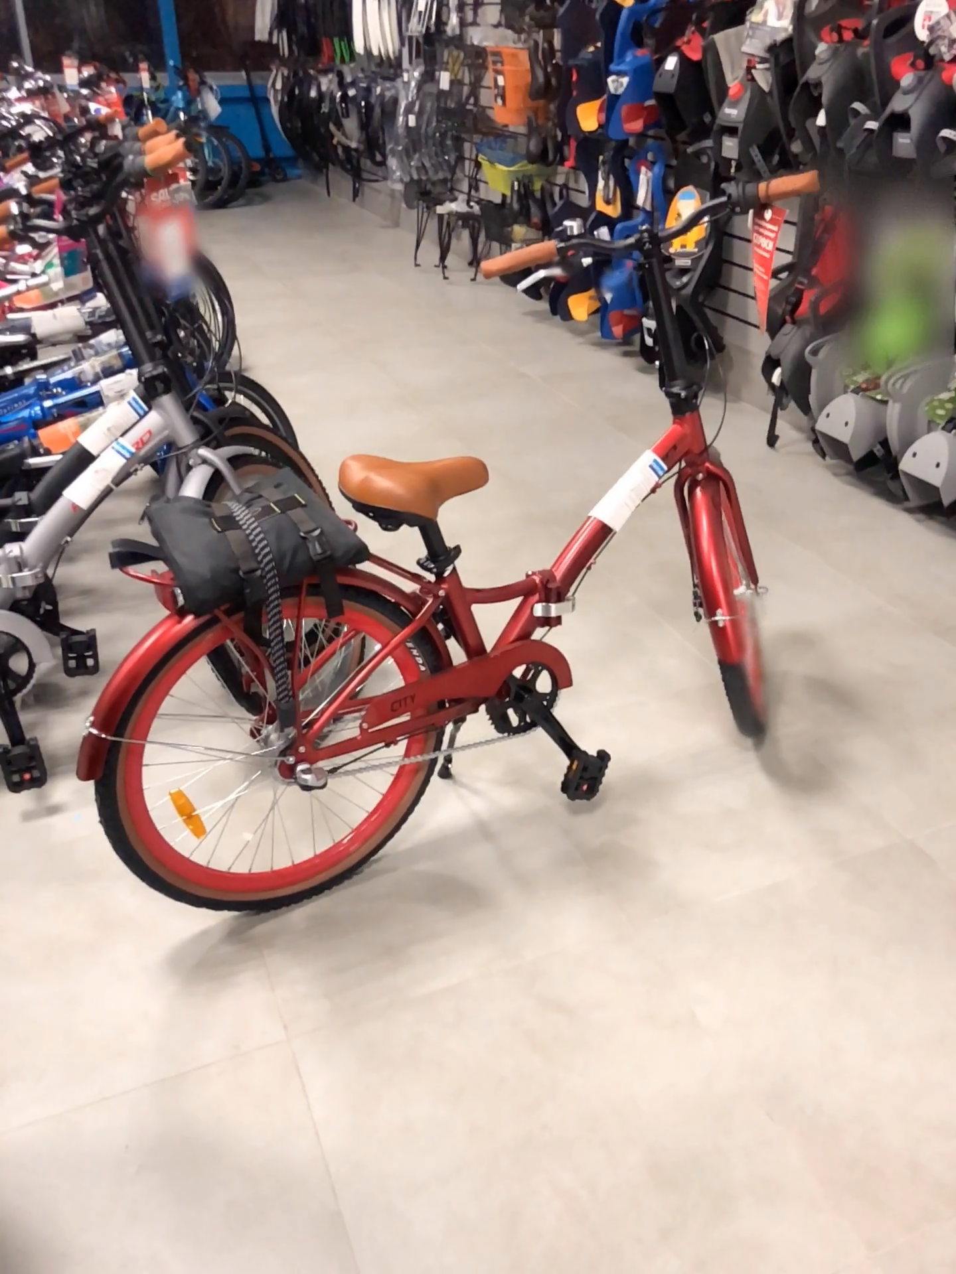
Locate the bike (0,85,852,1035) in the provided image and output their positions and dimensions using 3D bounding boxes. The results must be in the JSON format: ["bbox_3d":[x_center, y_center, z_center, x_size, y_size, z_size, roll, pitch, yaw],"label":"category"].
[{"bbox_3d":[-0.030,-0.291,1.914,1.498,1.111,0.518,-27,38,-34],"label":"bike"}]
